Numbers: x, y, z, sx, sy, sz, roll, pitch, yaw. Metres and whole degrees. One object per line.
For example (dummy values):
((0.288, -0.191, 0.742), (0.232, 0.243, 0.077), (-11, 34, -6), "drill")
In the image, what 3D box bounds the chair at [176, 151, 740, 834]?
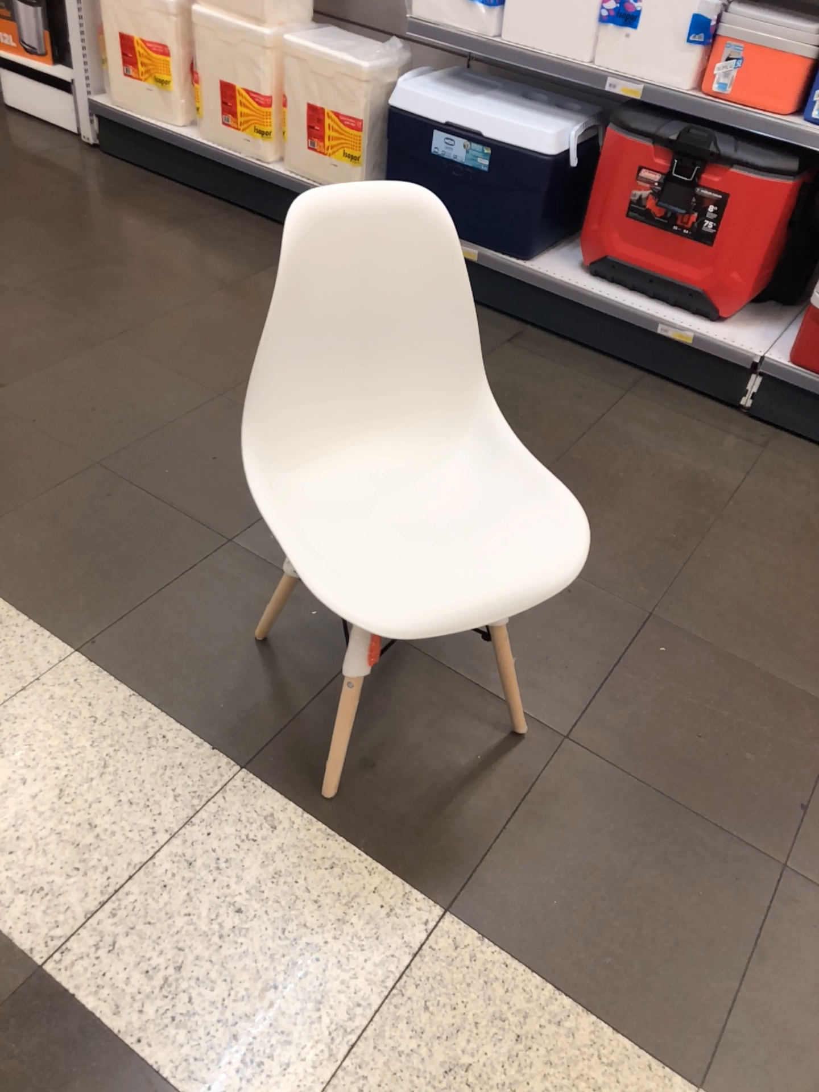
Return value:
((-0.011, -0.089, 1.355), (0.521, 0.794, 0.543), (-11, 44, -21), "chair")
